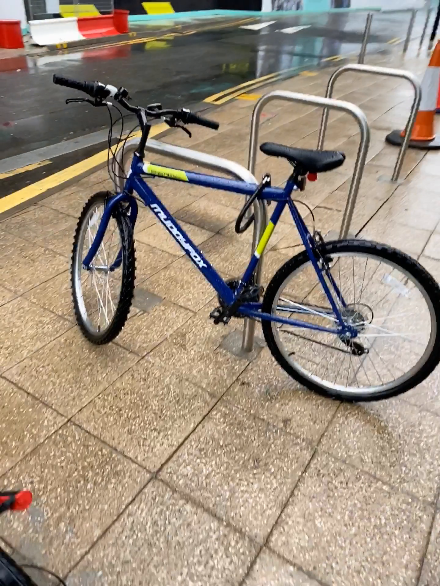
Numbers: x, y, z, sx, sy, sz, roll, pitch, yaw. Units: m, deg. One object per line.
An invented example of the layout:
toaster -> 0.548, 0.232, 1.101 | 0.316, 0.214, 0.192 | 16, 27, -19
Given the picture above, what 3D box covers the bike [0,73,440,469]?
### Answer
bike -> 0.055, -0.190, 1.696 | 1.592, 1.012, 0.601 | 16, 37, 22
